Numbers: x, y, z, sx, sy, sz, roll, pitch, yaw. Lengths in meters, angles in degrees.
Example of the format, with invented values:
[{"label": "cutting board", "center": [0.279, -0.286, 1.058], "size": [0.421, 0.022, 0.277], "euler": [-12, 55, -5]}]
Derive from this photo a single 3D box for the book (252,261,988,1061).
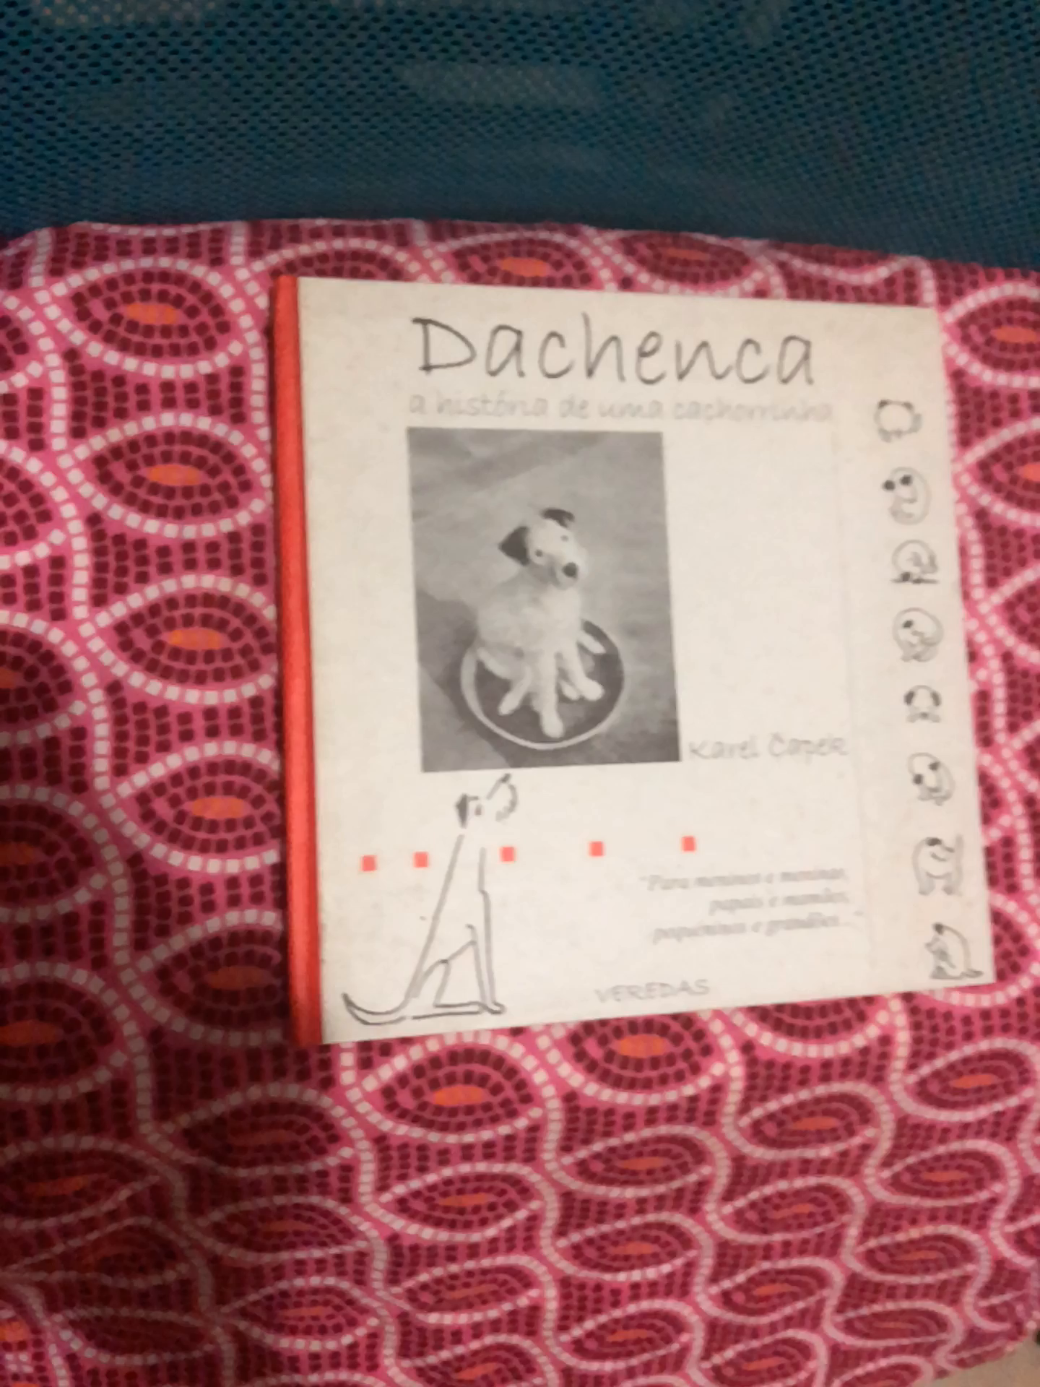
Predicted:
[{"label": "book", "center": [0.029, -0.015, 0.346], "size": [0.206, 0.027, 0.216], "euler": [-2, 83, -13]}]
